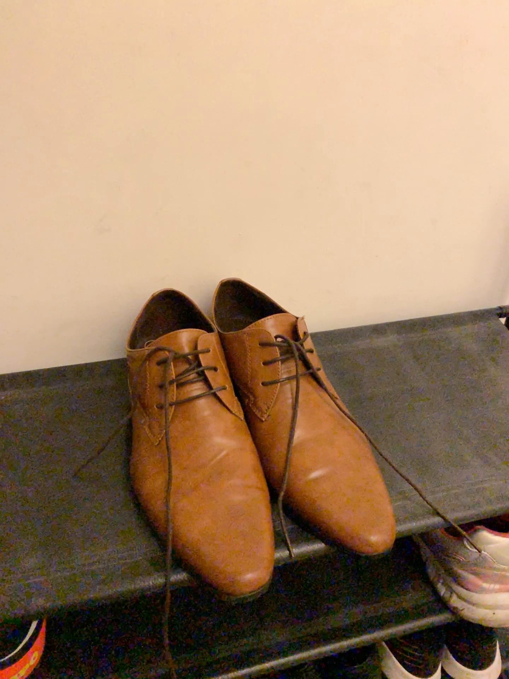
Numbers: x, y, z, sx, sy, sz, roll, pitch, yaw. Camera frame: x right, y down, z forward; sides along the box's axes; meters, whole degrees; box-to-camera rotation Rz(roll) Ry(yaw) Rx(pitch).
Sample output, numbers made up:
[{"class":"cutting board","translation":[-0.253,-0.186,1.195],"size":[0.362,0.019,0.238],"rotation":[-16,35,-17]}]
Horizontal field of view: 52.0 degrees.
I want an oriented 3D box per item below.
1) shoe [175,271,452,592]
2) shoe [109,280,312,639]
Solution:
[{"class":"shoe","translation":[0.025,0.052,0.479],"size":[0.100,0.099,0.302],"rotation":[-14,36,-21]},{"class":"shoe","translation":[-0.057,0.066,0.447],"size":[0.100,0.099,0.303],"rotation":[-8,34,-14]}]
